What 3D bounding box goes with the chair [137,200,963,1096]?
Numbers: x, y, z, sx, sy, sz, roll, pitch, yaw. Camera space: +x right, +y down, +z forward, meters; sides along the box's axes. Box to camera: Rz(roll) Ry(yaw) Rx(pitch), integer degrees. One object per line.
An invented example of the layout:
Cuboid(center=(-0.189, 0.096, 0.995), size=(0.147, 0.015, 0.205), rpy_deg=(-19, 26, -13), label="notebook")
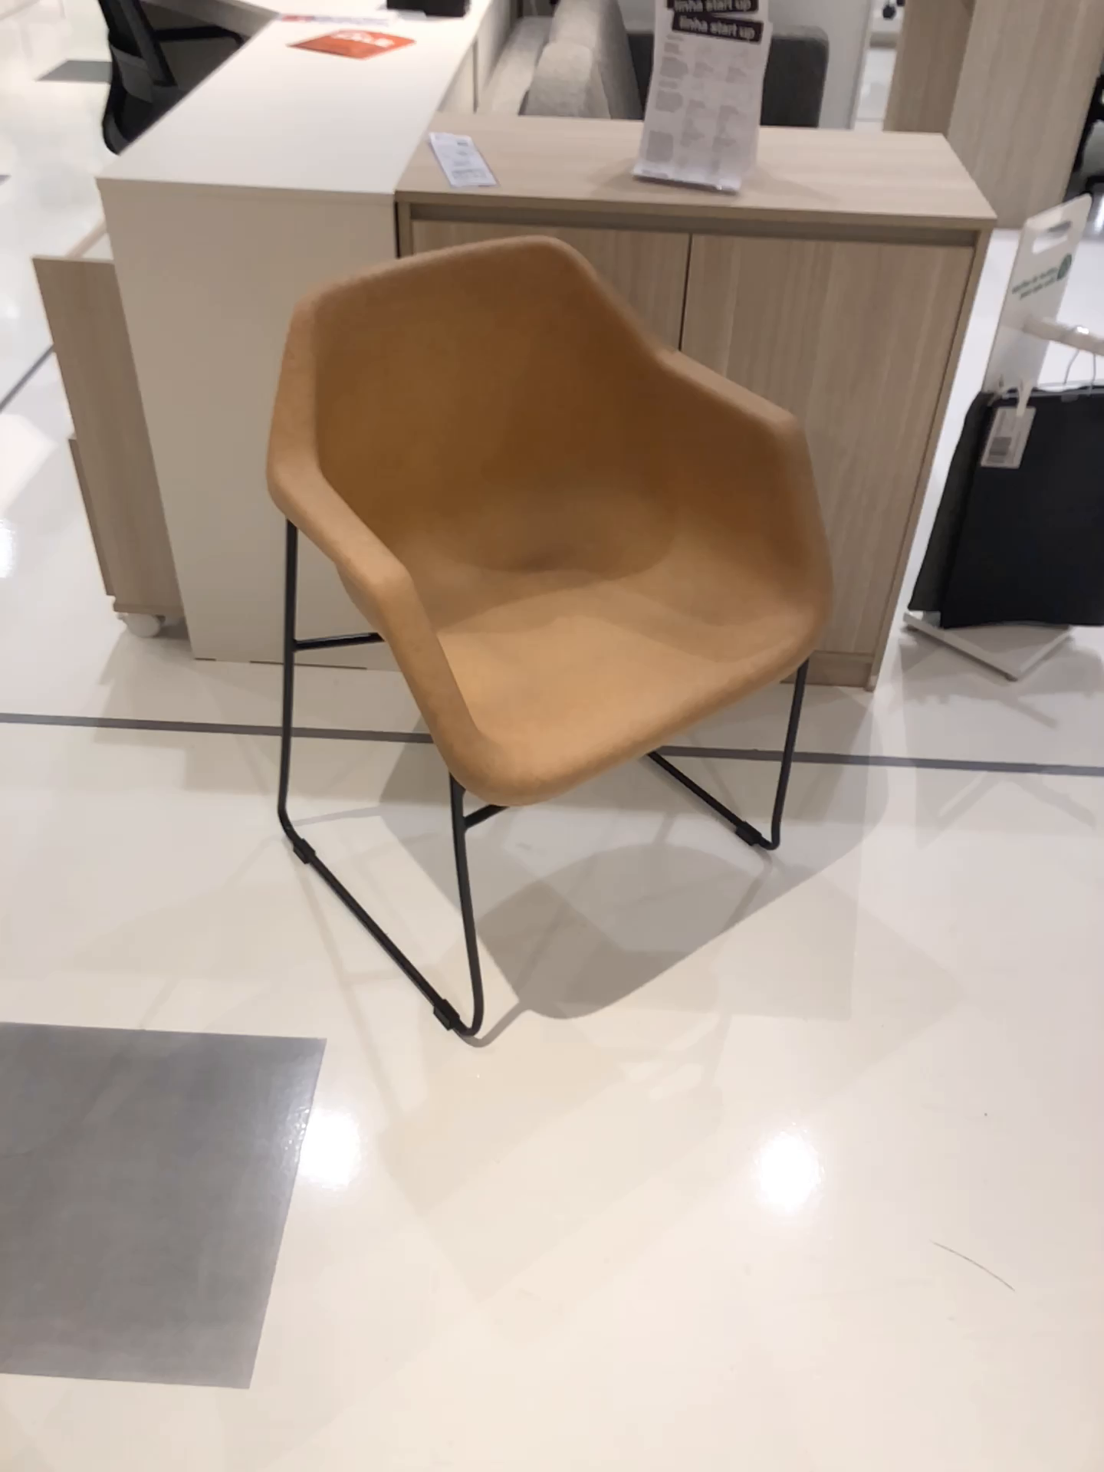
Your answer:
Cuboid(center=(-0.016, -0.136, 1.425), size=(0.592, 0.705, 0.572), rpy_deg=(-27, 48, -30), label="chair")
